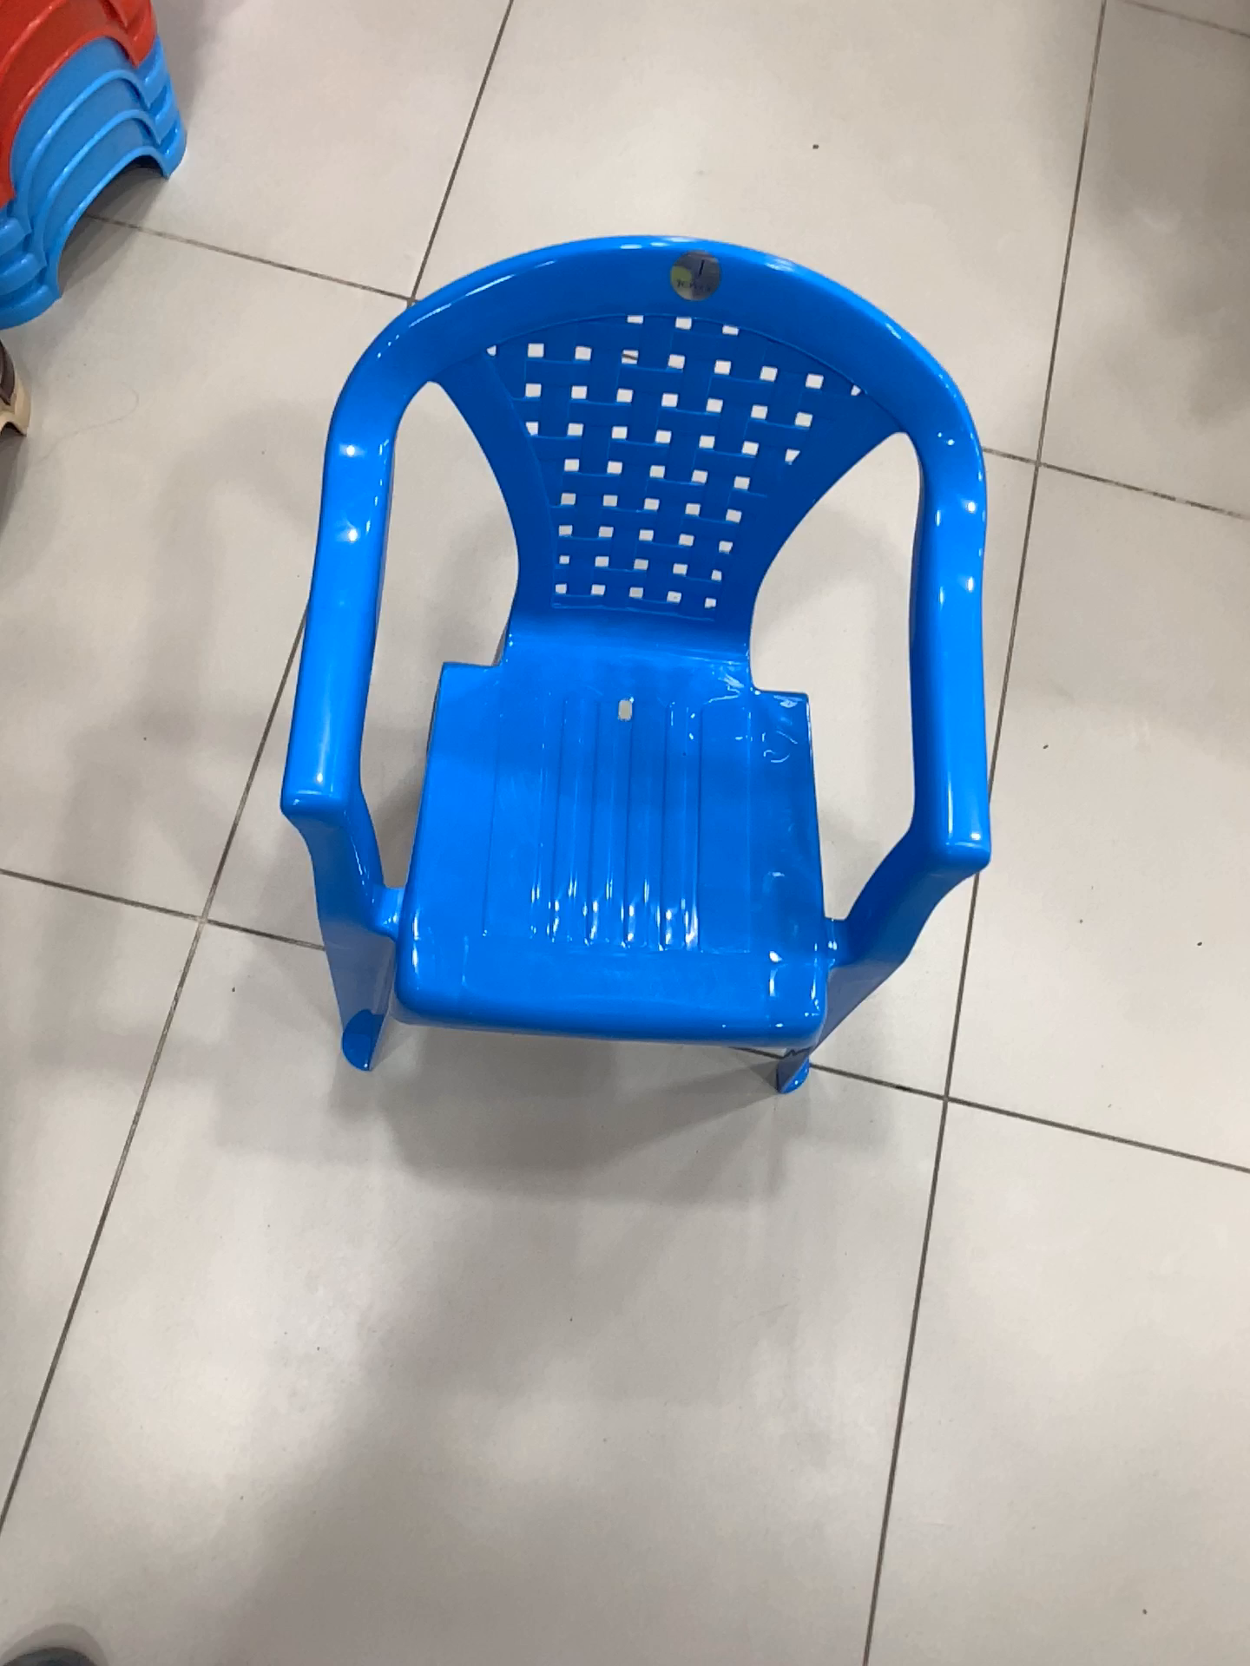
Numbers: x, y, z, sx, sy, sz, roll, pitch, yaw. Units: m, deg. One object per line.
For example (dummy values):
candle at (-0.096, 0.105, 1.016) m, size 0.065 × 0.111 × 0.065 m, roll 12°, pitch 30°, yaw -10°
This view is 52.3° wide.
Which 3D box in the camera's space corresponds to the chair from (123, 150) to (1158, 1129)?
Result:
chair at (-0.003, -0.036, 0.740) m, size 0.370 × 0.500 × 0.340 m, roll 6°, pitch 72°, yaw -4°
